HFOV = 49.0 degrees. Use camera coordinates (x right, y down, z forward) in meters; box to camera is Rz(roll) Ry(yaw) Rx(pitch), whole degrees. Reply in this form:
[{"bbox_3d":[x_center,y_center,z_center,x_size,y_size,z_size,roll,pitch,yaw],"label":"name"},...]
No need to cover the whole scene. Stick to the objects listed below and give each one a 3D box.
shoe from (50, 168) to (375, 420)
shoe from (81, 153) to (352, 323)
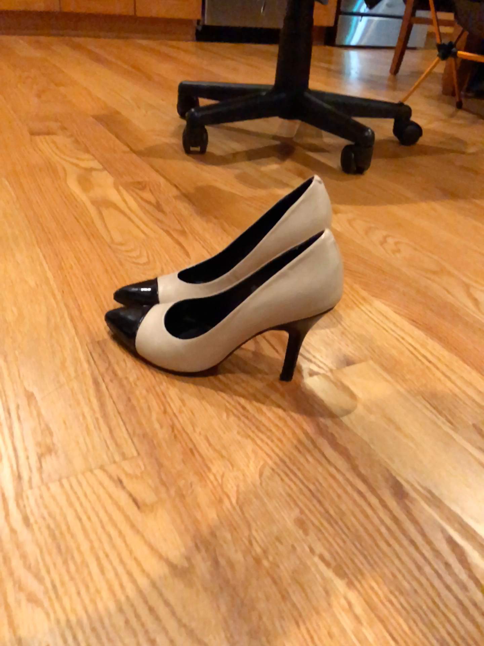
[{"bbox_3d":[-0.026,-0.032,0.444,0.235,0.138,0.085,14,32,15],"label":"shoe"},{"bbox_3d":[-0.028,-0.084,0.528,0.235,0.138,0.085,-1,32,-10],"label":"shoe"}]
